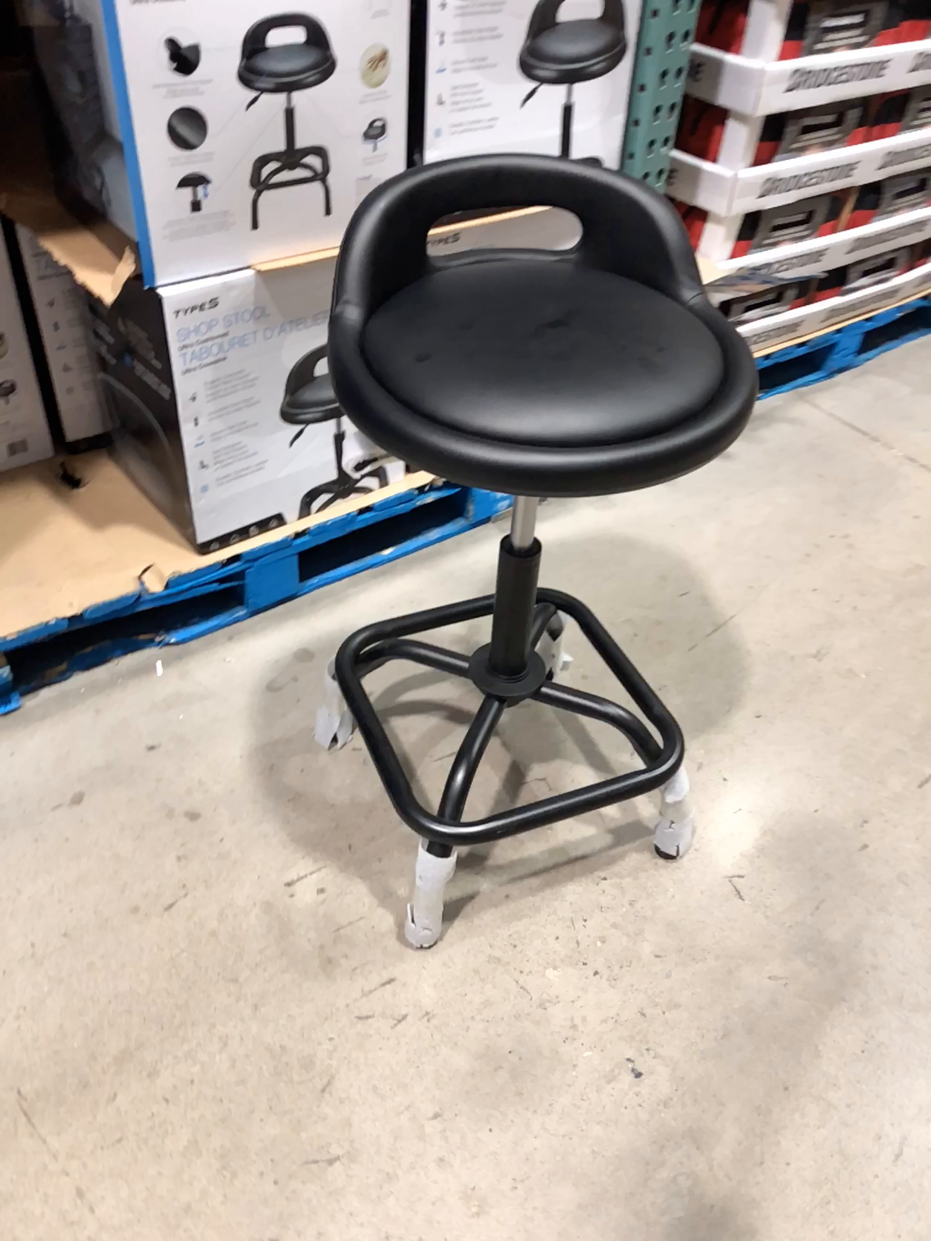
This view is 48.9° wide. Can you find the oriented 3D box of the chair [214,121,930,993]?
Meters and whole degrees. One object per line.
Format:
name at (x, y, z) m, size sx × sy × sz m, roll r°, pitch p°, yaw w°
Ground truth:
chair at (0.053, -0.075, 1.157) m, size 0.480 × 0.747 × 0.512 m, roll -14°, pitch 45°, yaw -20°
